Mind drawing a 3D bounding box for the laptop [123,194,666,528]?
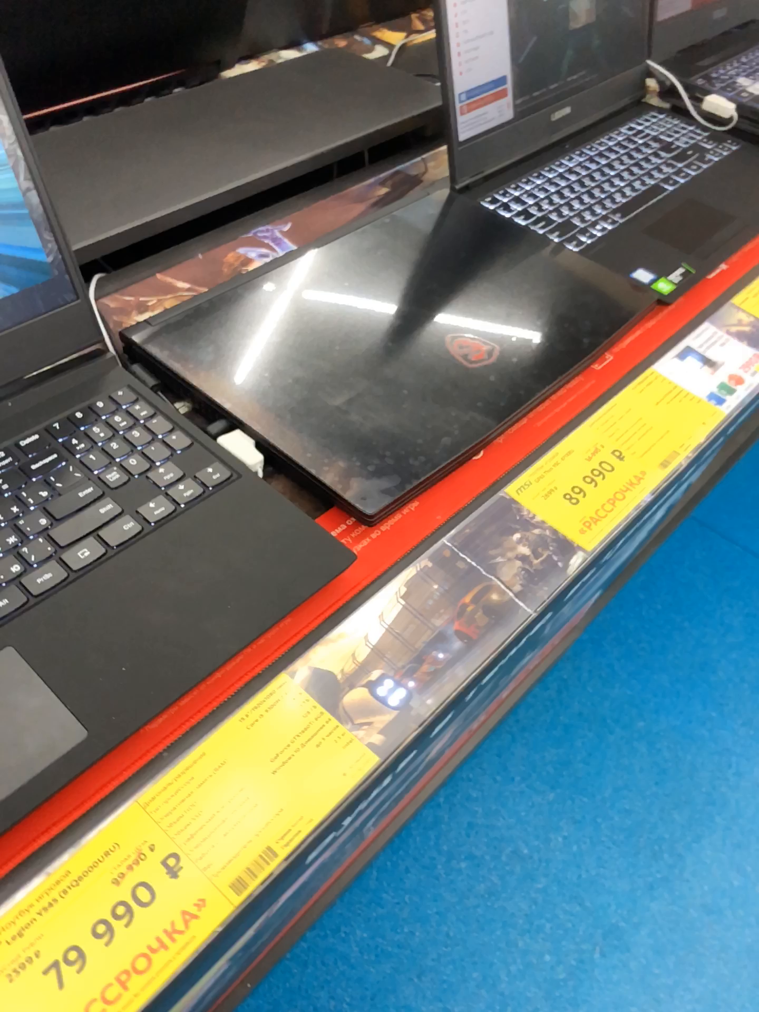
[{"bbox_3d":[0.026,-0.140,0.641,0.239,0.002,0.354,36,54,25],"label":"laptop"}]
